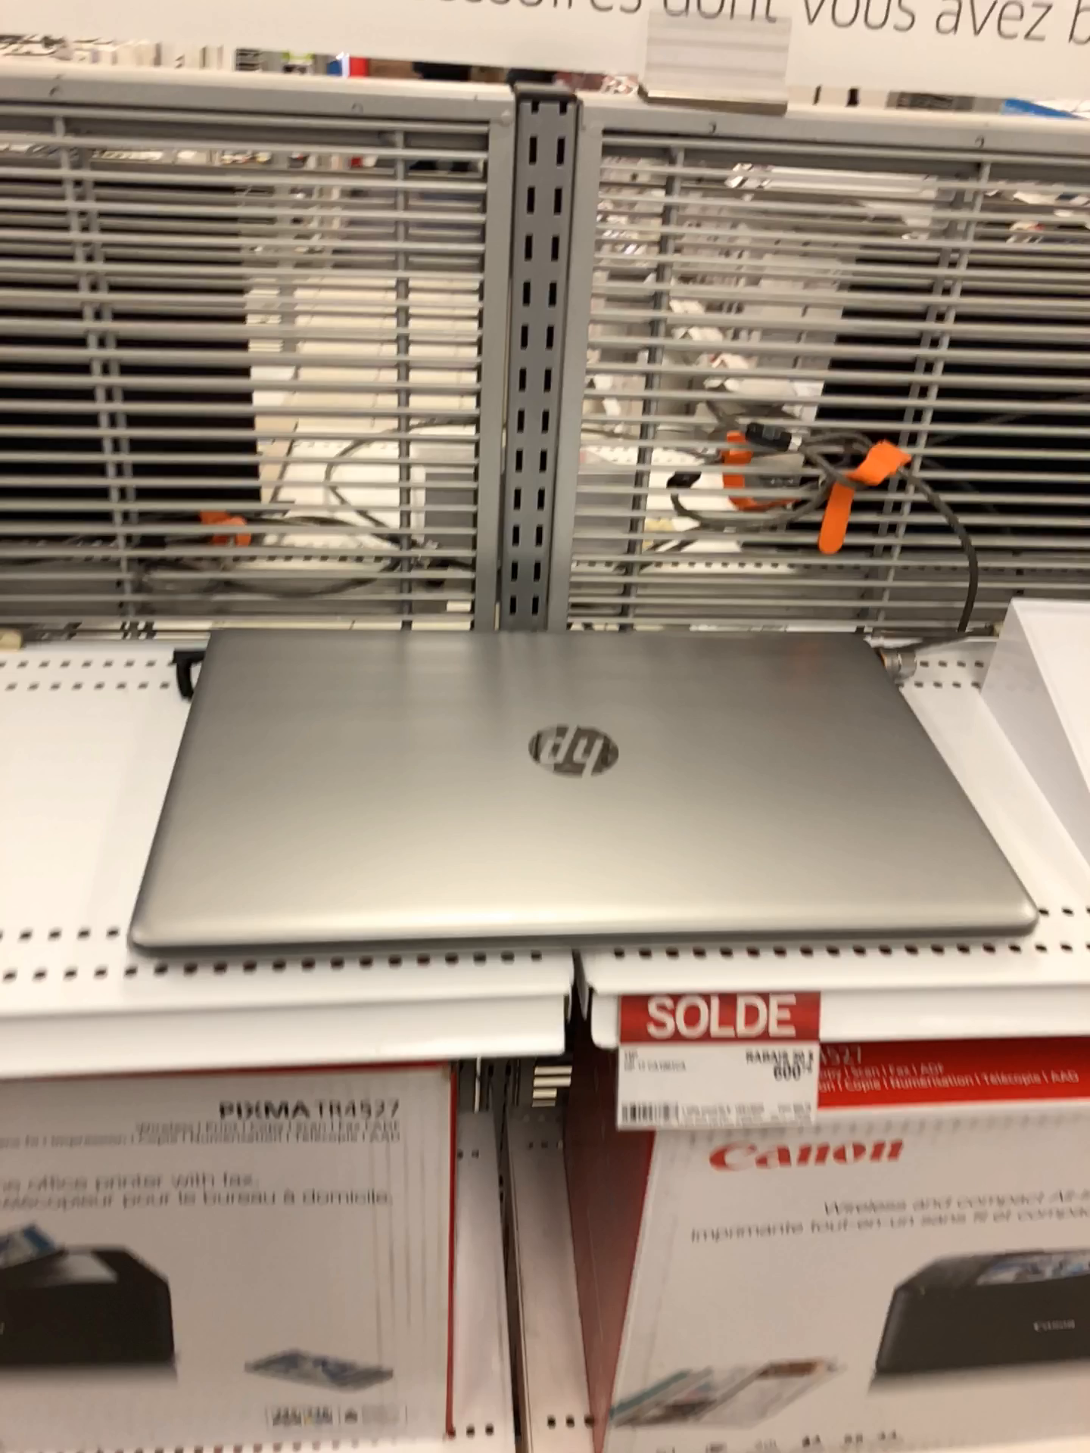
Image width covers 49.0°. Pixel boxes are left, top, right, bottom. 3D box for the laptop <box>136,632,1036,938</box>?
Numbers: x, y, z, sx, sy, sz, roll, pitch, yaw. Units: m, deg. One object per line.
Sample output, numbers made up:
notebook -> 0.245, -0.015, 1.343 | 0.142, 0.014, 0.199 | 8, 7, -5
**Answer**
laptop -> 0.014, 0.017, 0.665 | 0.416, 0.002, 0.278 | 0, 33, -6
